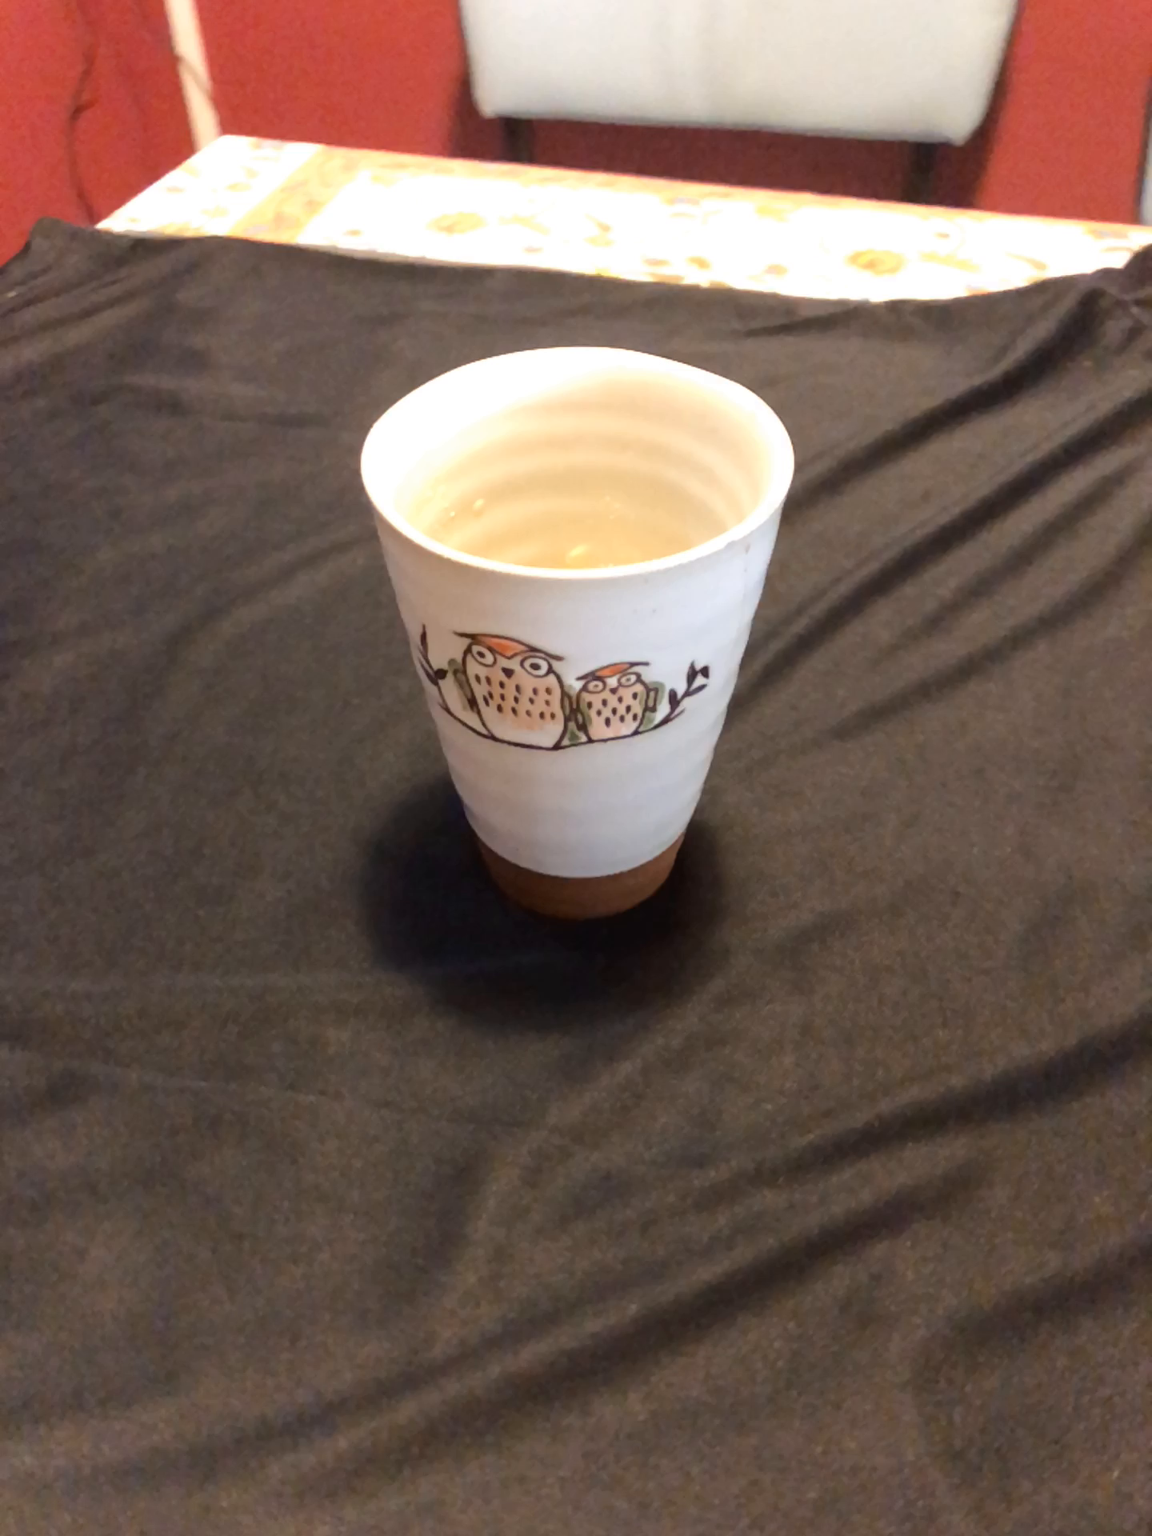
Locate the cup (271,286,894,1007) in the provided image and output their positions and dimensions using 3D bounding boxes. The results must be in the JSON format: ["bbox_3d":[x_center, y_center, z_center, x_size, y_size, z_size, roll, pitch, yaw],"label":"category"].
[{"bbox_3d":[0.005,-0.028,0.271,0.080,0.099,0.090,22,48,23],"label":"cup"}]
